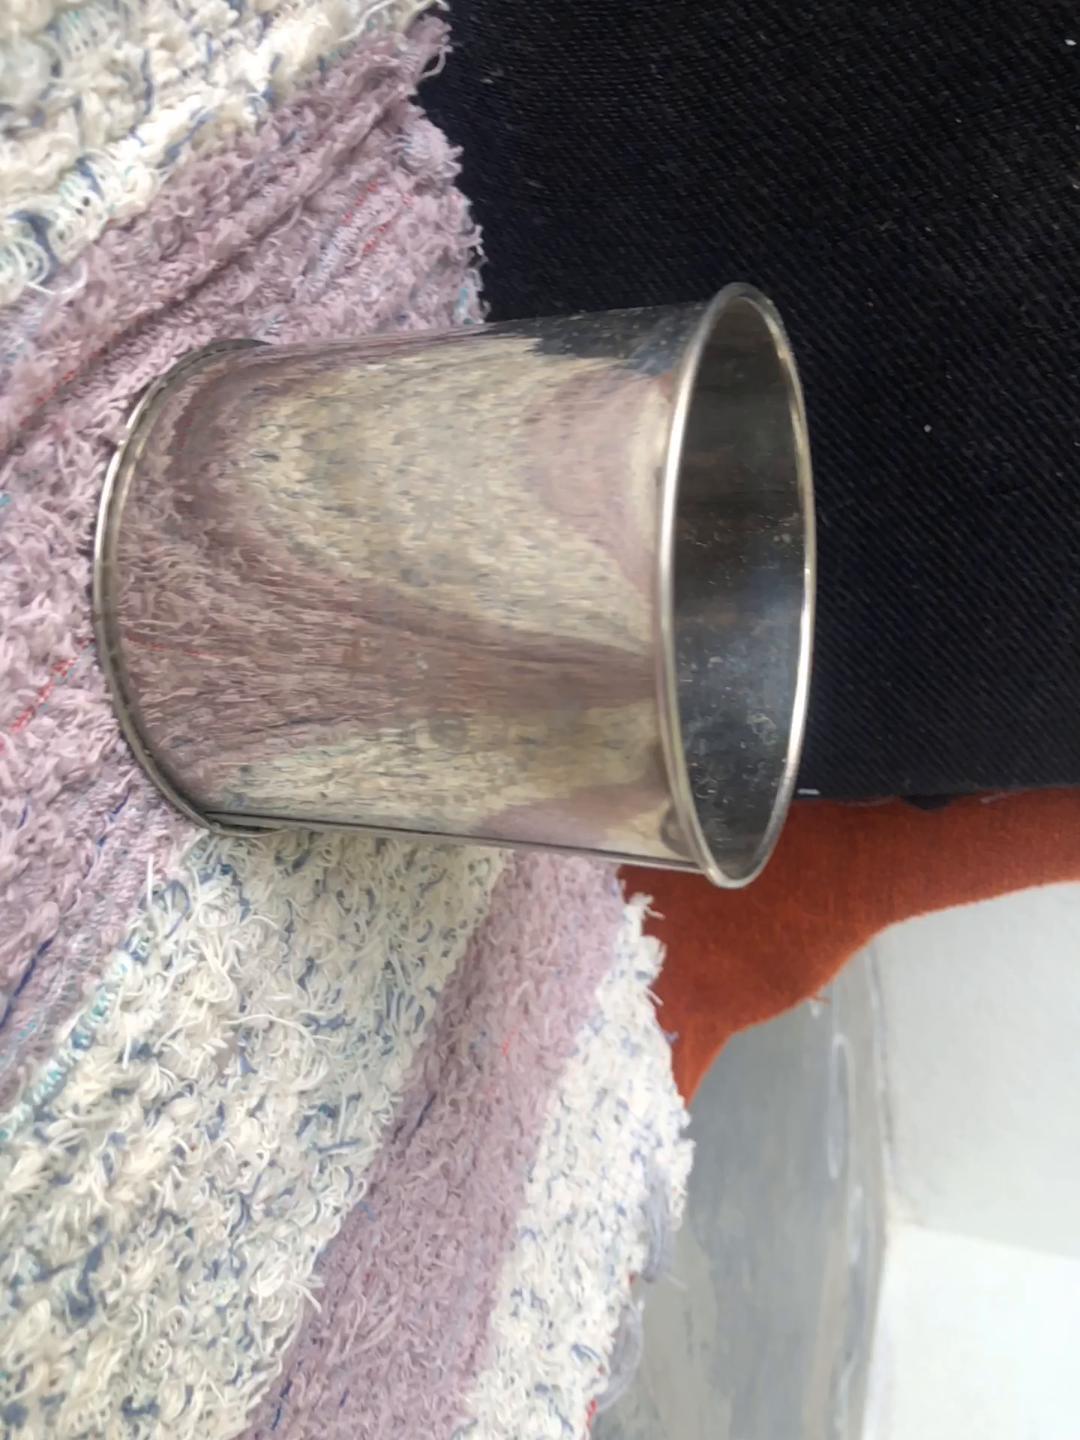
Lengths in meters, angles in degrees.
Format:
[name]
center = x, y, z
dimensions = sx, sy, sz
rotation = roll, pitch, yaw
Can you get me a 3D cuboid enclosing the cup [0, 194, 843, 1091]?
[cup]
center = -0.004, -0.012, 0.177
dimensions = 0.080, 0.079, 0.090
rotation = -66, 150, -43
